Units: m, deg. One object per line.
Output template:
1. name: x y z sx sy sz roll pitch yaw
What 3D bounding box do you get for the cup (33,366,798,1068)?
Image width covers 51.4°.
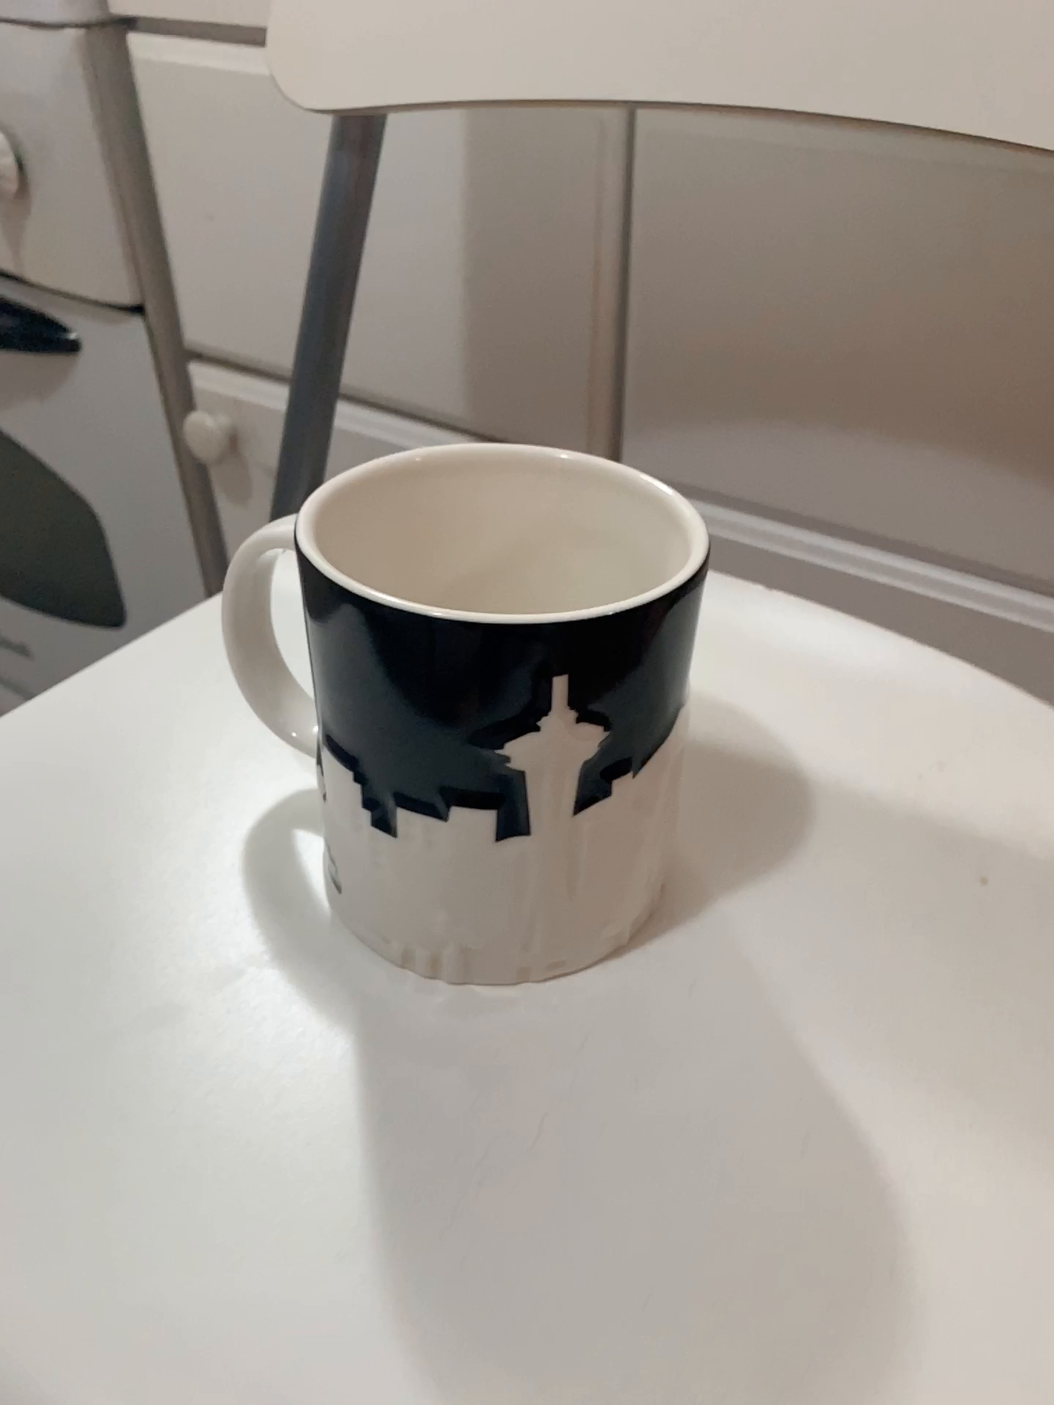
1. cup: -0.025 -0.007 0.285 0.144 0.100 0.104 22 44 27
